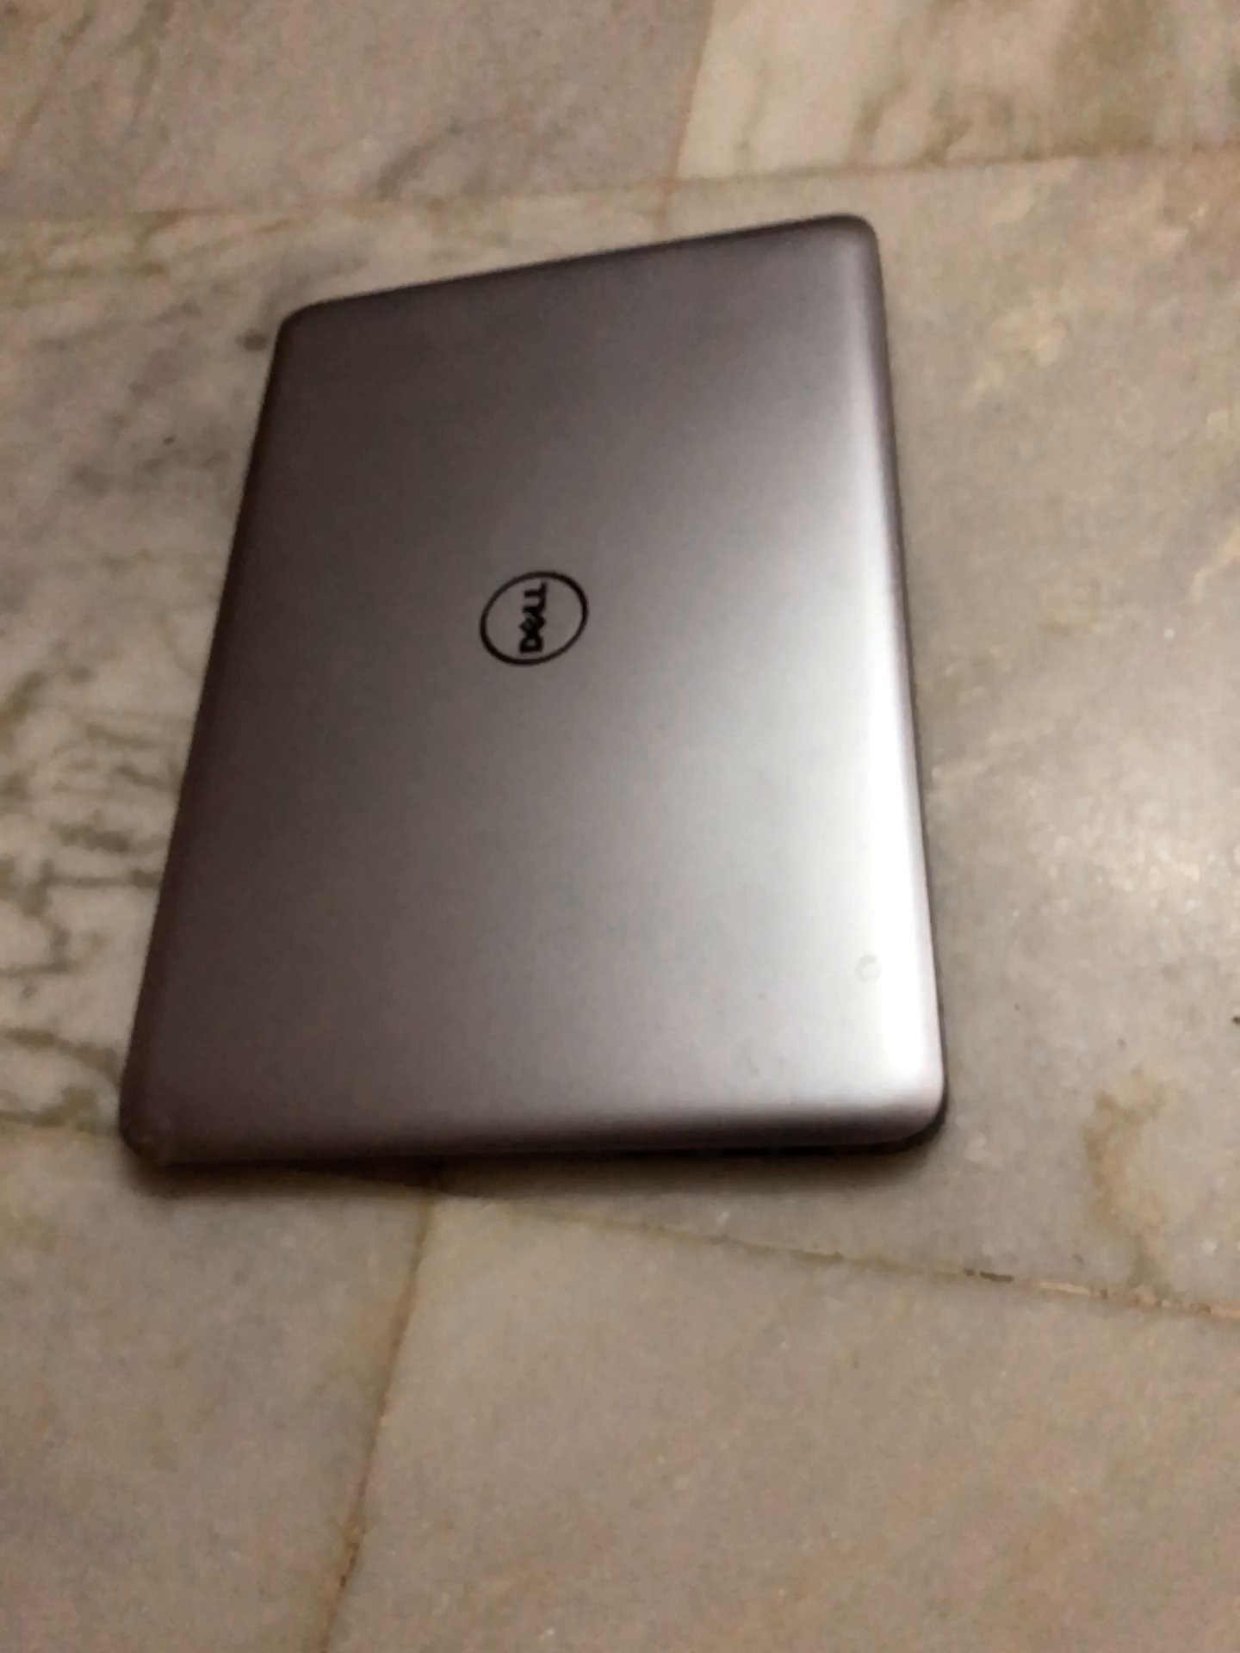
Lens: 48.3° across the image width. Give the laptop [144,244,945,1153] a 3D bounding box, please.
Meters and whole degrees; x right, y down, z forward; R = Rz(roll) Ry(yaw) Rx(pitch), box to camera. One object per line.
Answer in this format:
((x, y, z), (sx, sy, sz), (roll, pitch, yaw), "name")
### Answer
((-0.025, -0.063, 0.486), (0.244, 0.002, 0.347), (-5, 62, 12), "laptop")
